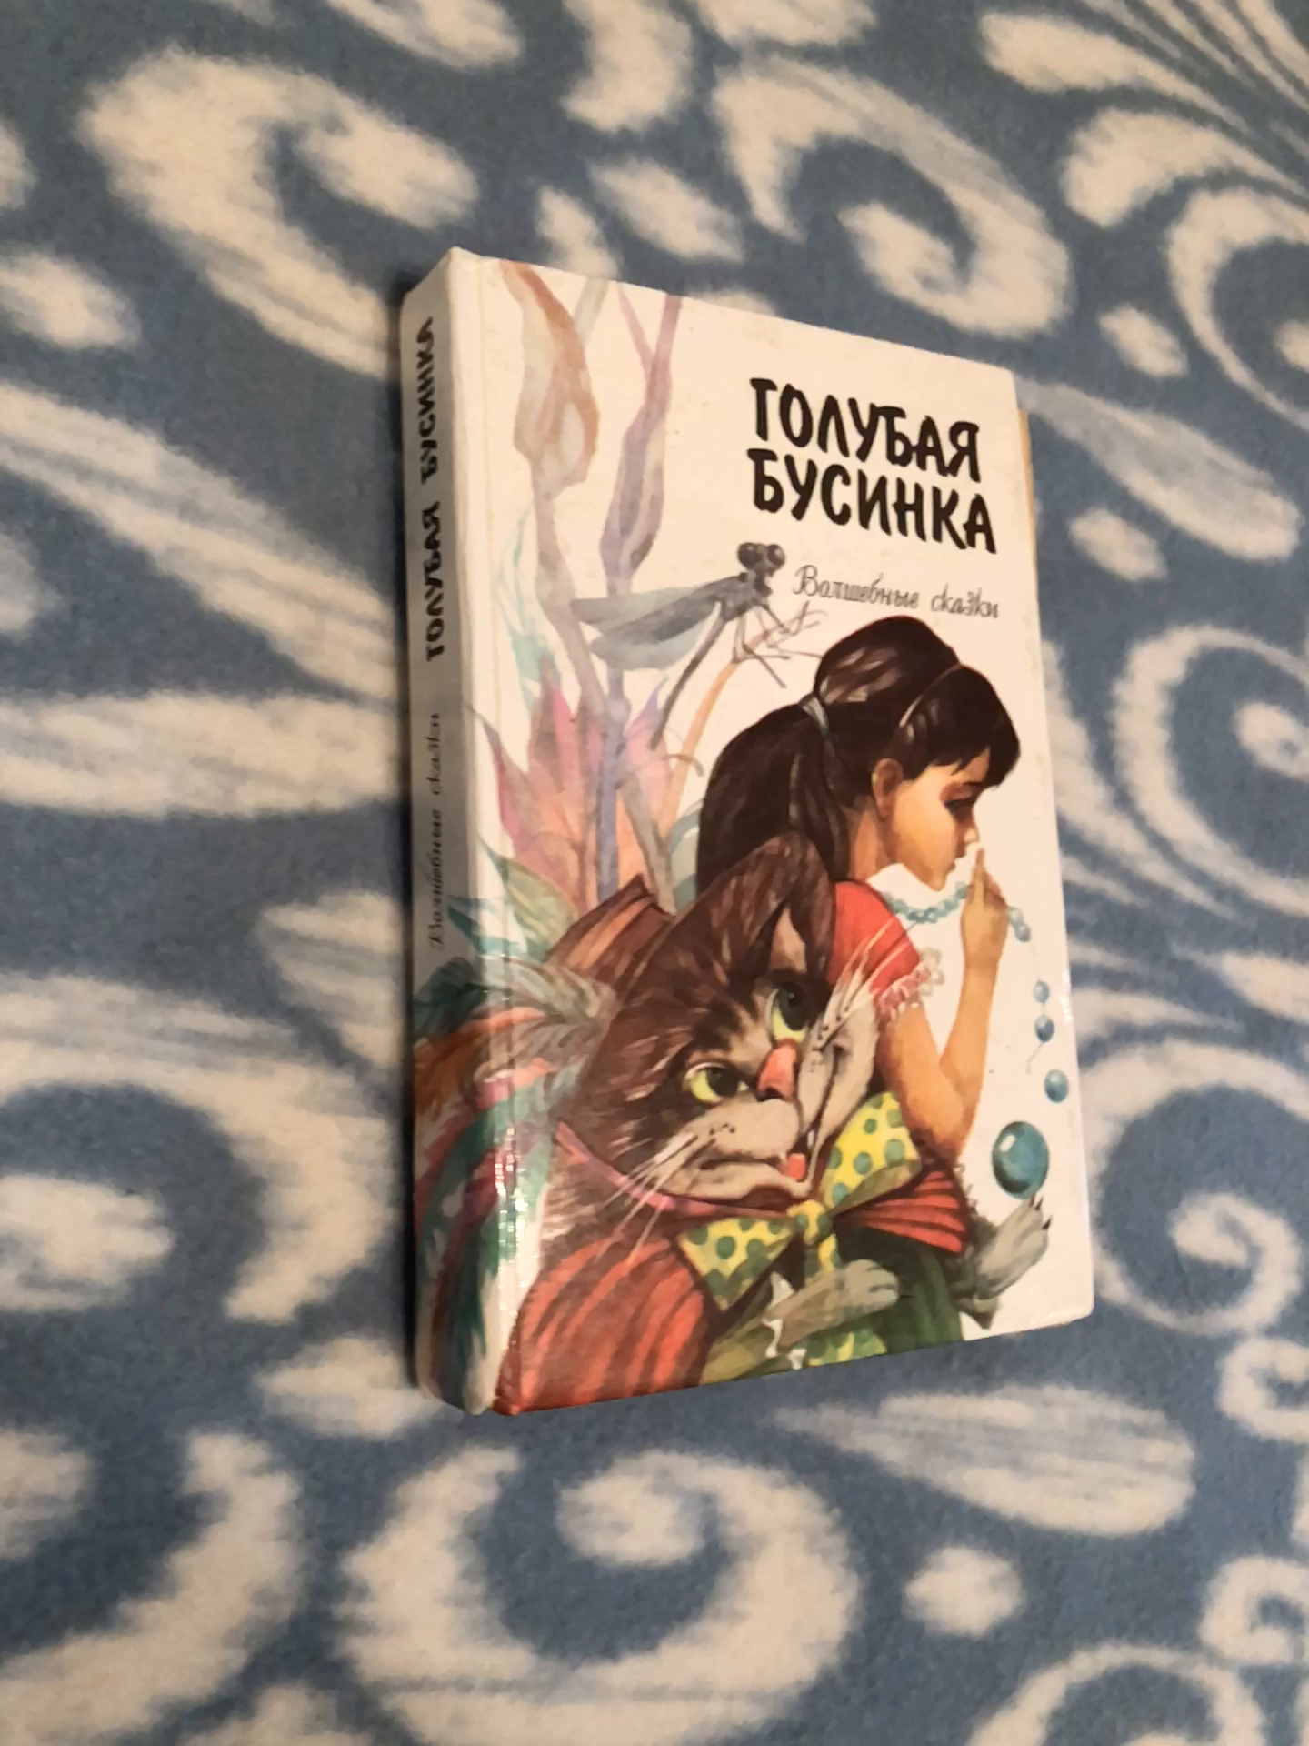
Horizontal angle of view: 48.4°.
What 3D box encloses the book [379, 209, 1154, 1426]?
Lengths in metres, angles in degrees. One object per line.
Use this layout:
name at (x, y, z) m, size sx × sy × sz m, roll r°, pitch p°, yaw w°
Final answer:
book at (0.024, -0.011, 0.294) m, size 0.146 × 0.040 × 0.206 m, roll 1°, pitch 82°, yaw -27°
